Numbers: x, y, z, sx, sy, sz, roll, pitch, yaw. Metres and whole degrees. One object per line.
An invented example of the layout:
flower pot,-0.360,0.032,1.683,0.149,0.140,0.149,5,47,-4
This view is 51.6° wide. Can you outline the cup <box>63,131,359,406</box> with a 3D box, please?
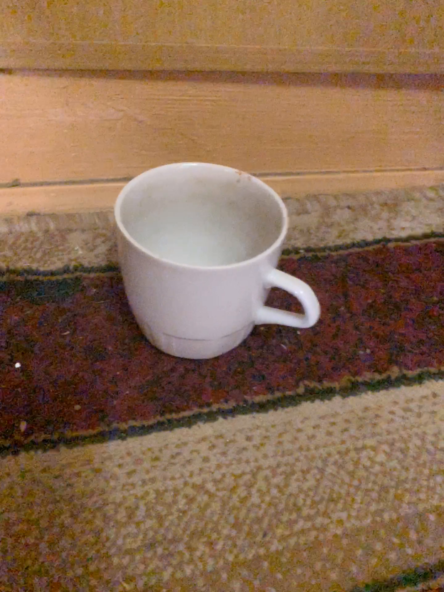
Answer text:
cup,-0.005,-0.019,0.241,0.114,0.075,0.082,24,48,16
